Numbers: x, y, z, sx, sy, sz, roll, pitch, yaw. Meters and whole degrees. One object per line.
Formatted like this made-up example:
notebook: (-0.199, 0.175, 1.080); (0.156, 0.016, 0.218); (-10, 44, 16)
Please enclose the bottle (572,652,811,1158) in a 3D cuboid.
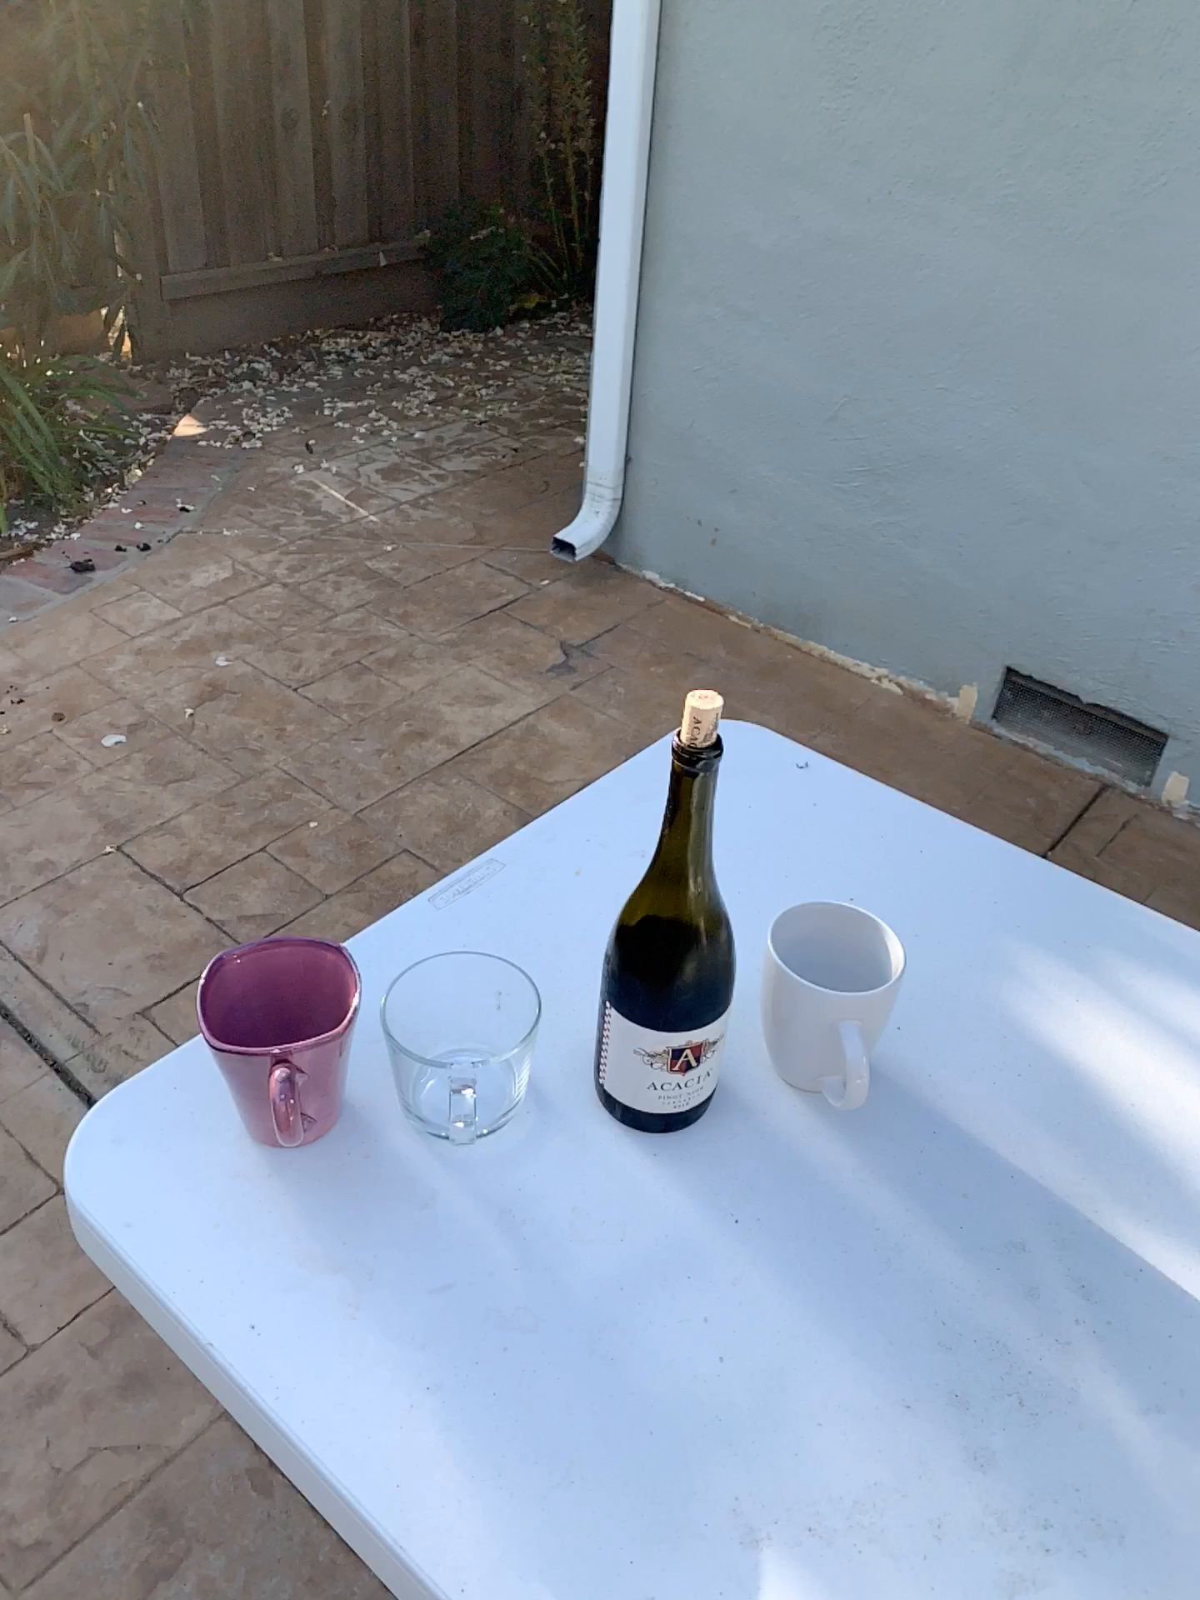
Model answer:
bottle: (0.045, 0.073, 0.752); (0.080, 0.308, 0.091); (-12, 39, -22)
